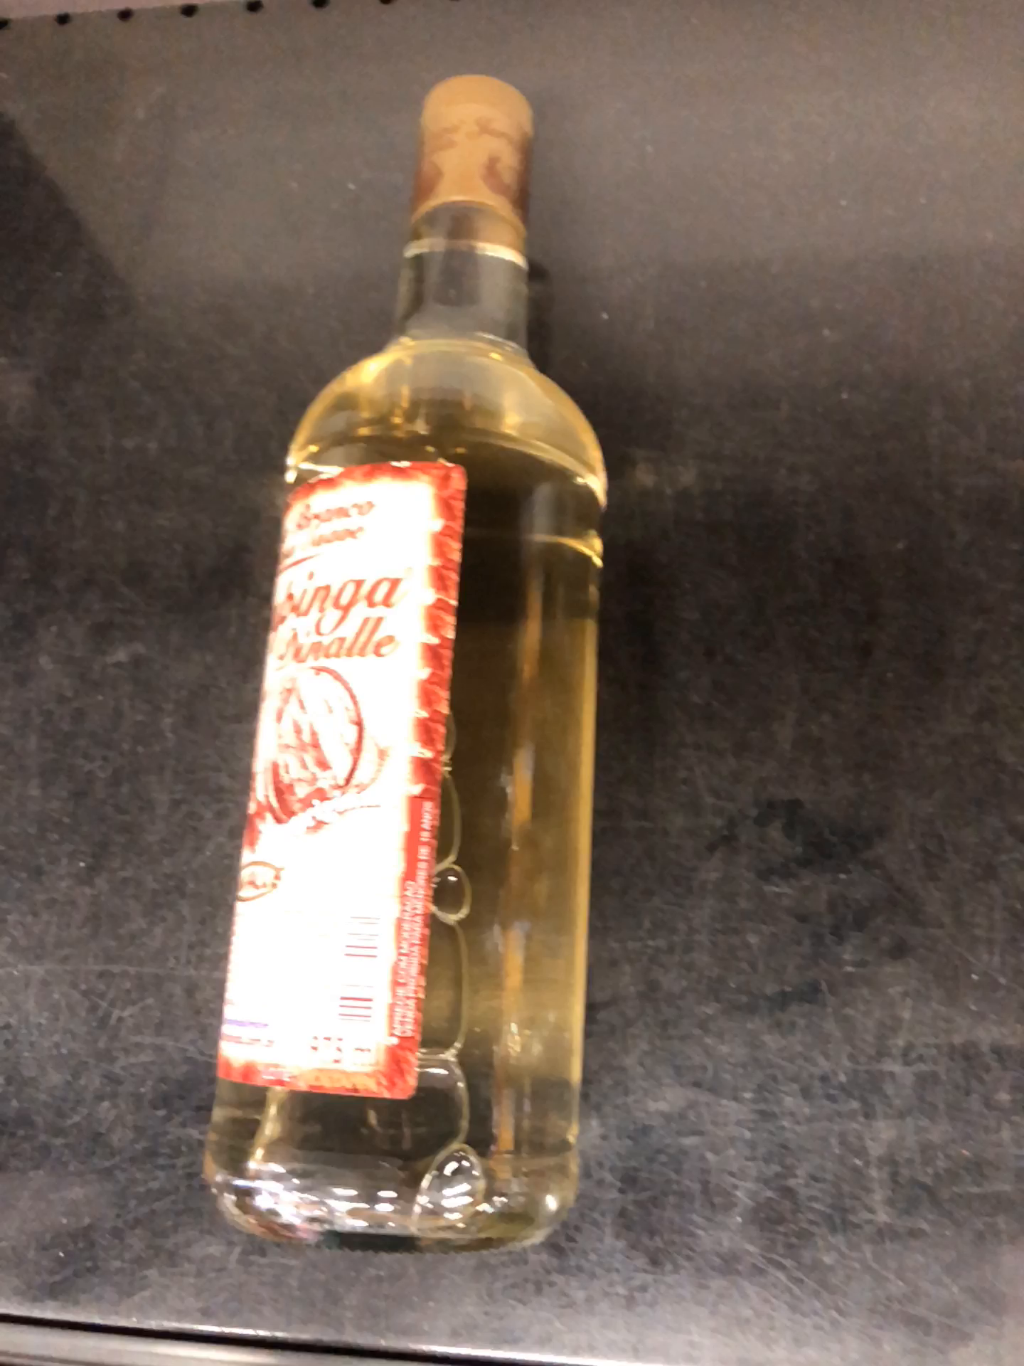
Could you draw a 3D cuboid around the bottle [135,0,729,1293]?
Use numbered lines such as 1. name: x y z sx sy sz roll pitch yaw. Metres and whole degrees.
1. bottle: -0.014 -0.029 0.282 0.100 0.080 0.300 10 75 -25
